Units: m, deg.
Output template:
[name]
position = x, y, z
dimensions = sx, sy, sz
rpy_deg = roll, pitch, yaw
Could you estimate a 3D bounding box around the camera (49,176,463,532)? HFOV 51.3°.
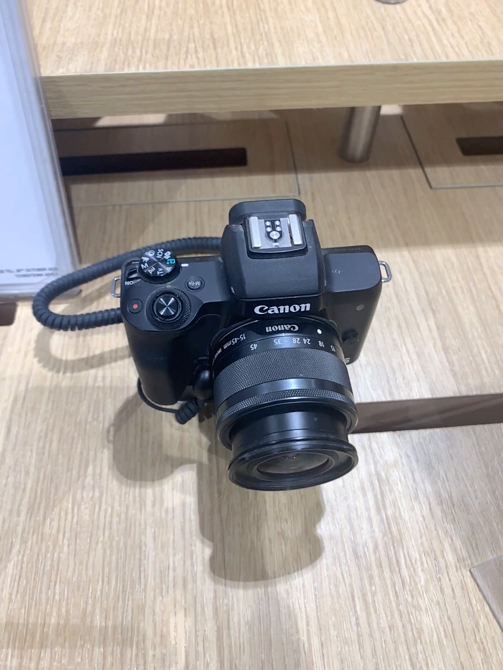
[camera]
position = -0.003, 0.011, 0.220
dimensions = 0.120, 0.100, 0.100
rpy_deg = -6, 56, -4
